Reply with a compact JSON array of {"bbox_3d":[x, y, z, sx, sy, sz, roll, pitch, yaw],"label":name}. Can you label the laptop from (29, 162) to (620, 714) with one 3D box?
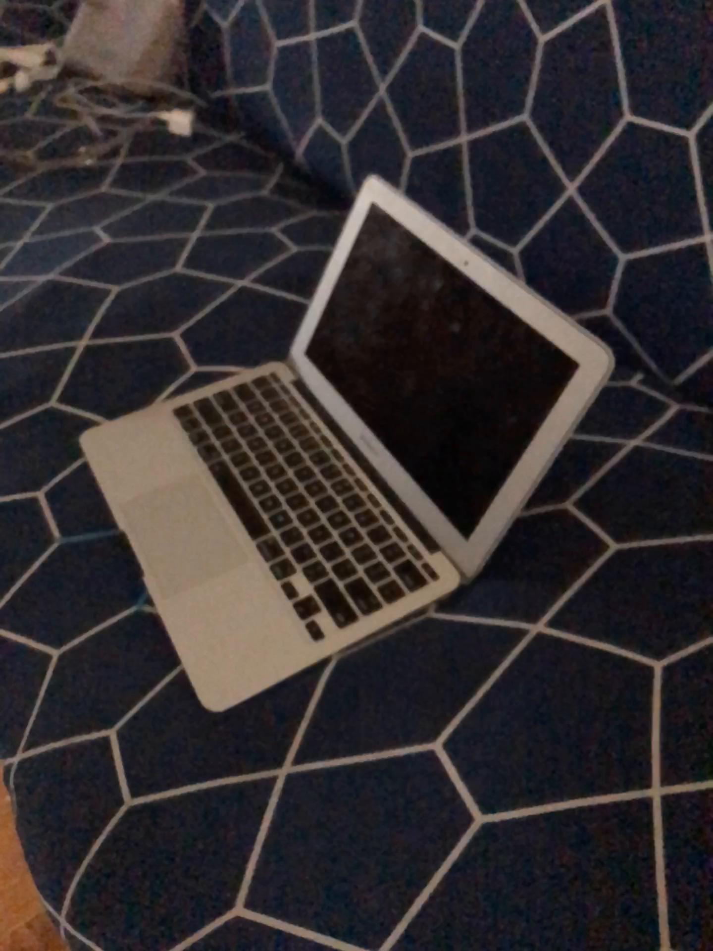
[{"bbox_3d":[-0.036,-0.054,0.557,0.279,0.156,0.282,-23,50,-20],"label":"laptop"}]
